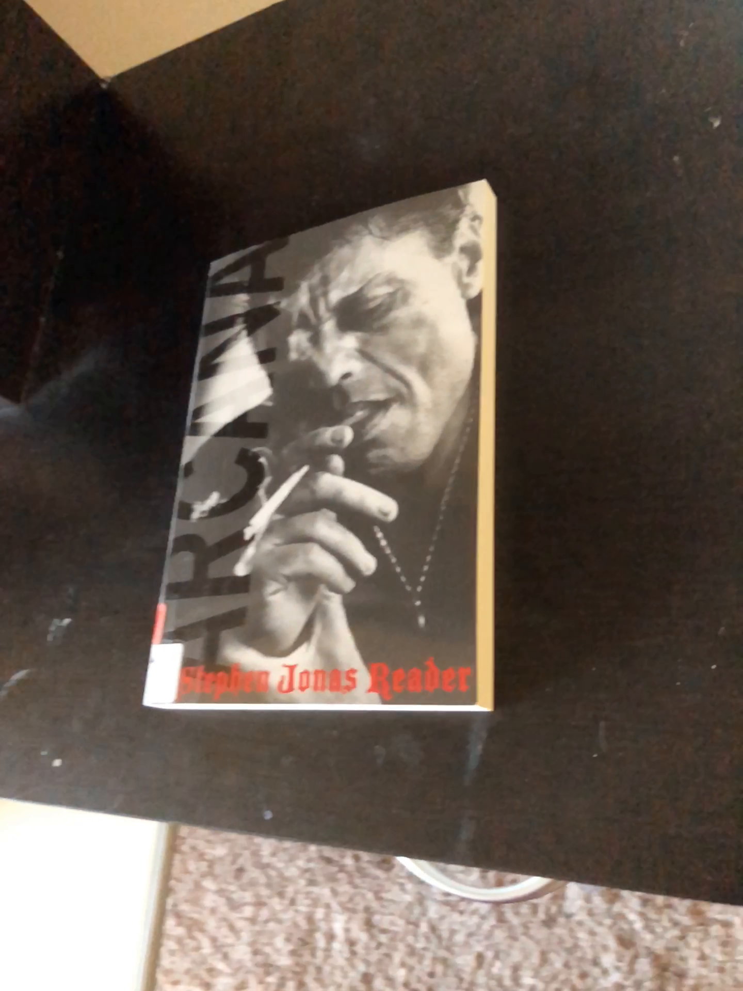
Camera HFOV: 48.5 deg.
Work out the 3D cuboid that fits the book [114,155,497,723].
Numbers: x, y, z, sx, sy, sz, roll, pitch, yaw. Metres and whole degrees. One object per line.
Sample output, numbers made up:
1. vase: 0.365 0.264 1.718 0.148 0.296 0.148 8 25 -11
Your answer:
1. book: -0.029 -0.026 0.401 0.180 0.024 0.260 -7 68 28
